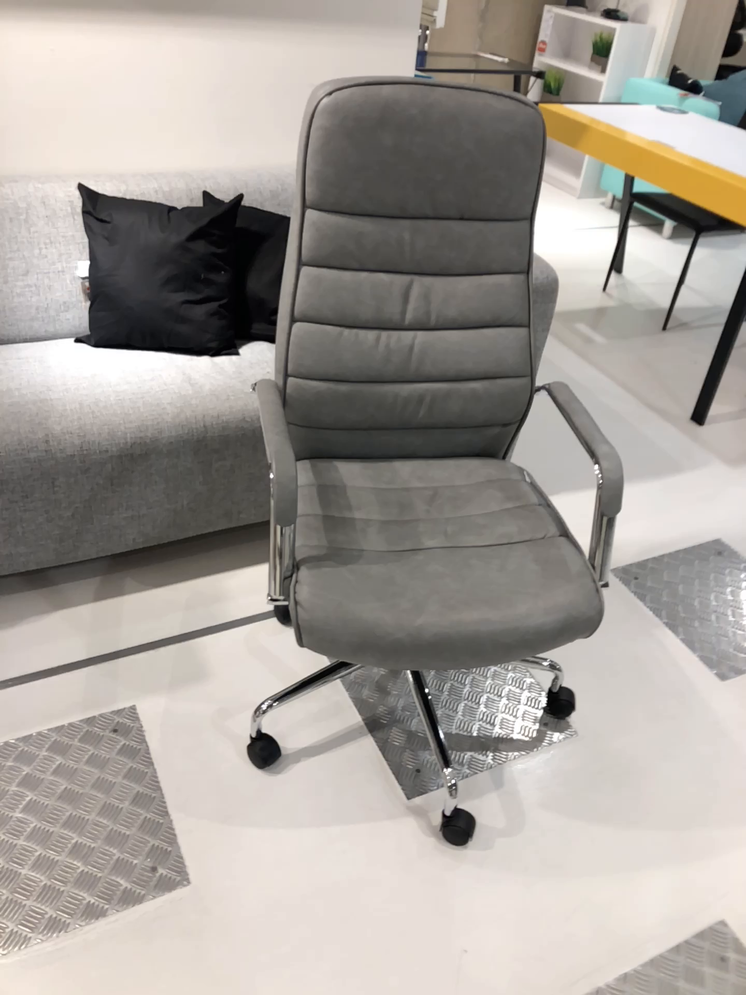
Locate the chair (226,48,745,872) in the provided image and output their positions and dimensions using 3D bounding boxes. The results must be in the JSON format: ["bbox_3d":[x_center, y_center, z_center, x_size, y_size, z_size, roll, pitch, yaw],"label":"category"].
[{"bbox_3d":[0.137,-0.058,1.344,0.721,1.052,0.725,-1,36,-11],"label":"chair"}]
